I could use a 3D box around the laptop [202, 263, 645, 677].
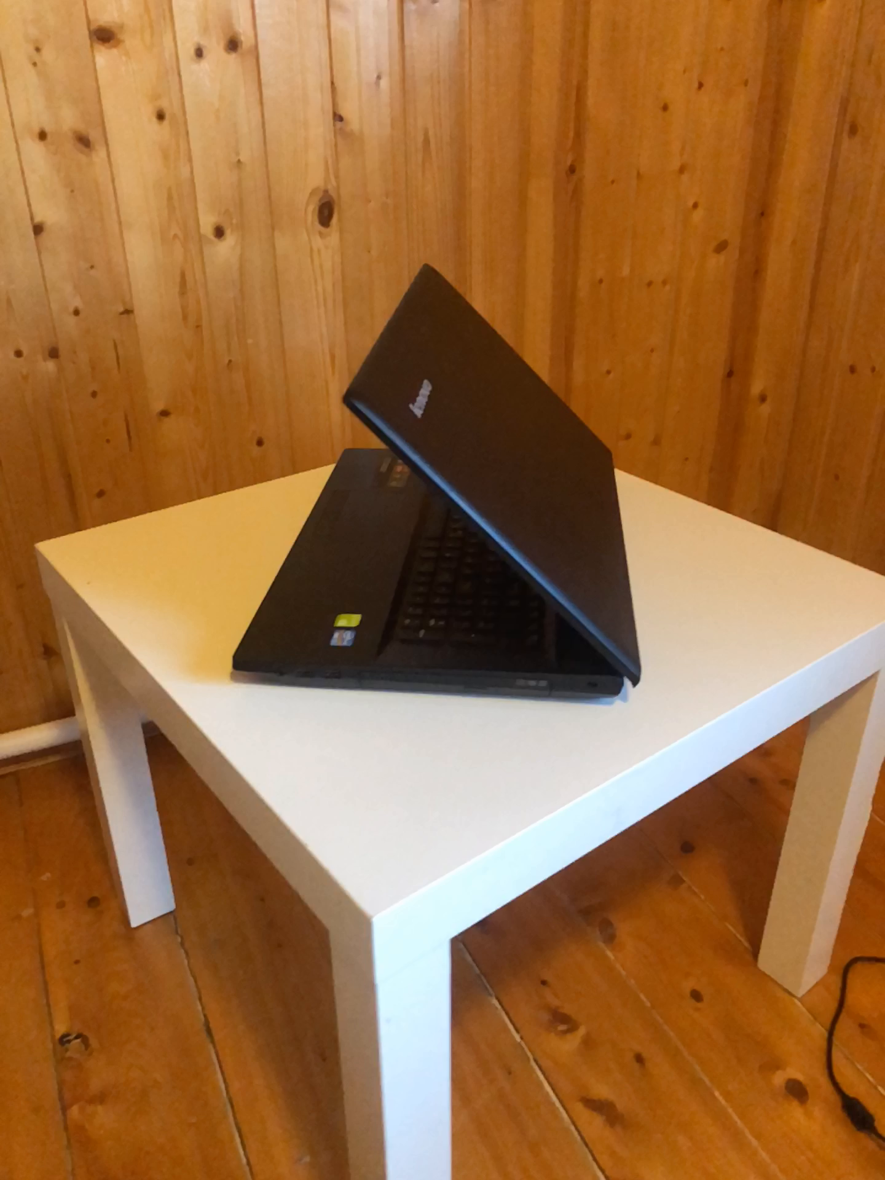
[{"bbox_3d":[0.008,-0.125,0.774,0.260,0.179,0.391,2,30,6],"label":"laptop"}]
